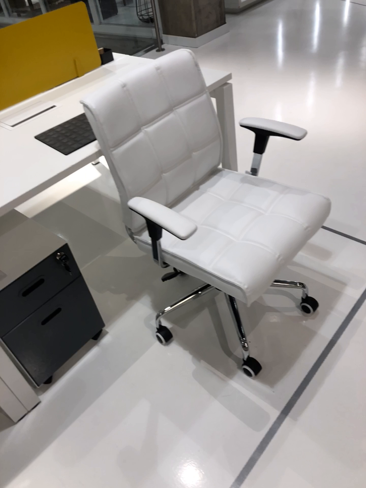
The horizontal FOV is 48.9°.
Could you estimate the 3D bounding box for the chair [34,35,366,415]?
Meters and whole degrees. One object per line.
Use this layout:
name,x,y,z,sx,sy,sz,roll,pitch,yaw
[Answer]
chair,0.125,-0.088,1.320,0.632,0.883,0.653,24,51,33
